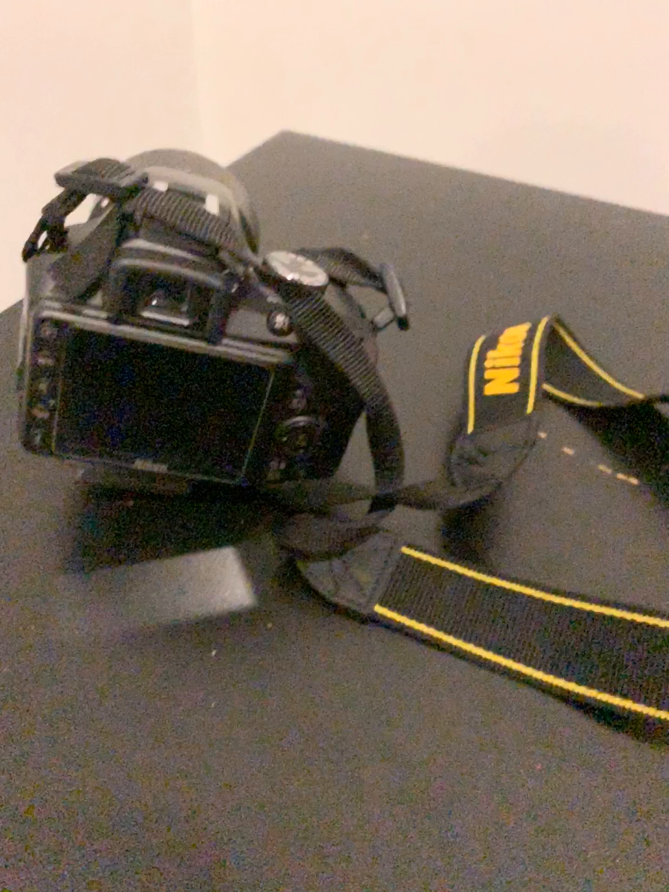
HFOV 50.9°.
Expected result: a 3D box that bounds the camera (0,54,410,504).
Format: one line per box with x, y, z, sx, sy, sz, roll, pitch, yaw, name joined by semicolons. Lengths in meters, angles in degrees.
-0.061;-0.089;0.315;0.116;0.089;0.221;11;34;-18;camera
